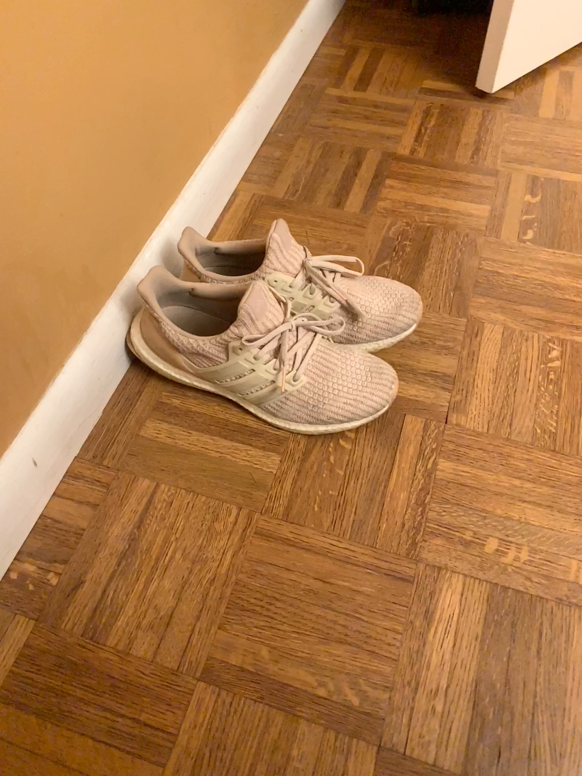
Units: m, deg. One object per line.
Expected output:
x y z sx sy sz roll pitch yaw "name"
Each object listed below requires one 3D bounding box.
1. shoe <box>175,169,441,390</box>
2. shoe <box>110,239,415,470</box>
0.014 -0.119 0.674 0.260 0.120 0.110 22 57 0 "shoe"
-0.032 -0.032 0.632 0.280 0.130 0.100 20 57 3 "shoe"
